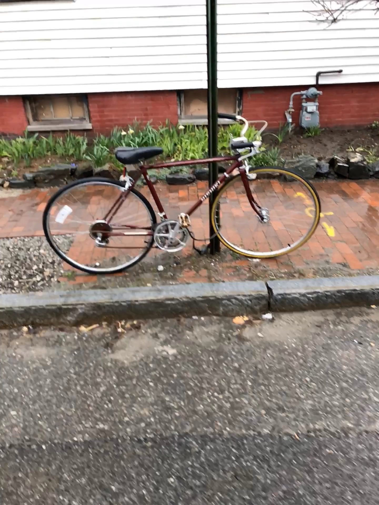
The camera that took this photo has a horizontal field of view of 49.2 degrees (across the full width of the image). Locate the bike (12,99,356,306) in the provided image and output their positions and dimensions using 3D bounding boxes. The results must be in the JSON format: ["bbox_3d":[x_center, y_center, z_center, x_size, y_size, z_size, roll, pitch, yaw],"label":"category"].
[{"bbox_3d":[-0.027,-0.290,2.353,1.605,0.907,0.502,-5,27,-1],"label":"bike"}]
